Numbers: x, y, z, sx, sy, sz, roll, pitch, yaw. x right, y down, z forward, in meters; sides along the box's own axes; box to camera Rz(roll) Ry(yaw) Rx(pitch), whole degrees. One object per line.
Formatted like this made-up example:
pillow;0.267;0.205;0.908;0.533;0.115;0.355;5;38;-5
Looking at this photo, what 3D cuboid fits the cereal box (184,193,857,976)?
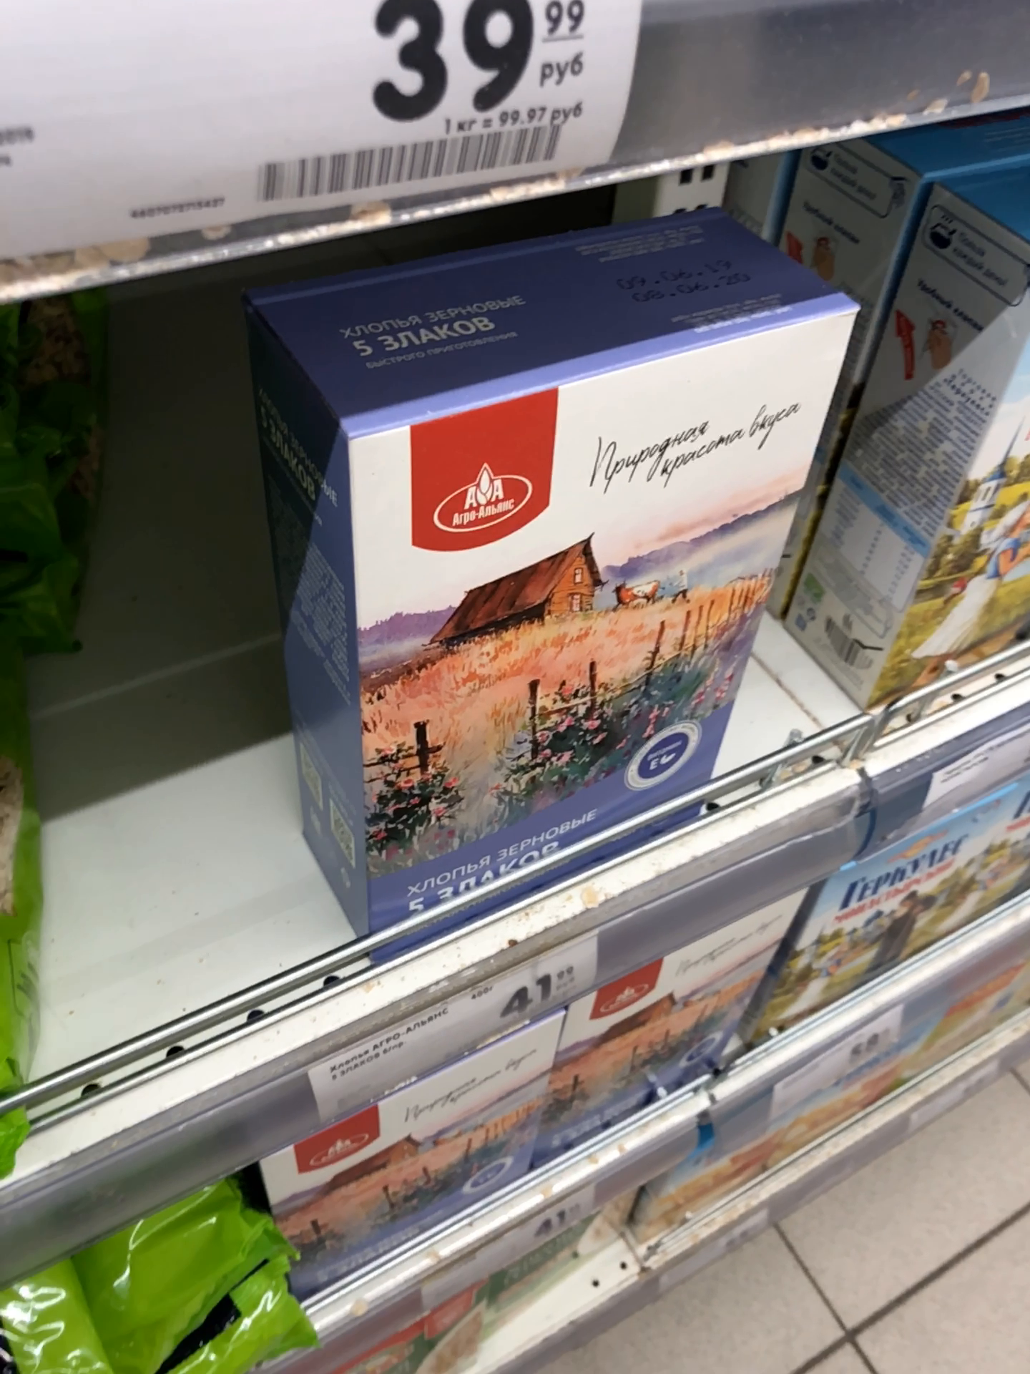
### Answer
cereal box;-0.002;-0.019;0.330;0.140;0.199;0.060;-21;52;-22
